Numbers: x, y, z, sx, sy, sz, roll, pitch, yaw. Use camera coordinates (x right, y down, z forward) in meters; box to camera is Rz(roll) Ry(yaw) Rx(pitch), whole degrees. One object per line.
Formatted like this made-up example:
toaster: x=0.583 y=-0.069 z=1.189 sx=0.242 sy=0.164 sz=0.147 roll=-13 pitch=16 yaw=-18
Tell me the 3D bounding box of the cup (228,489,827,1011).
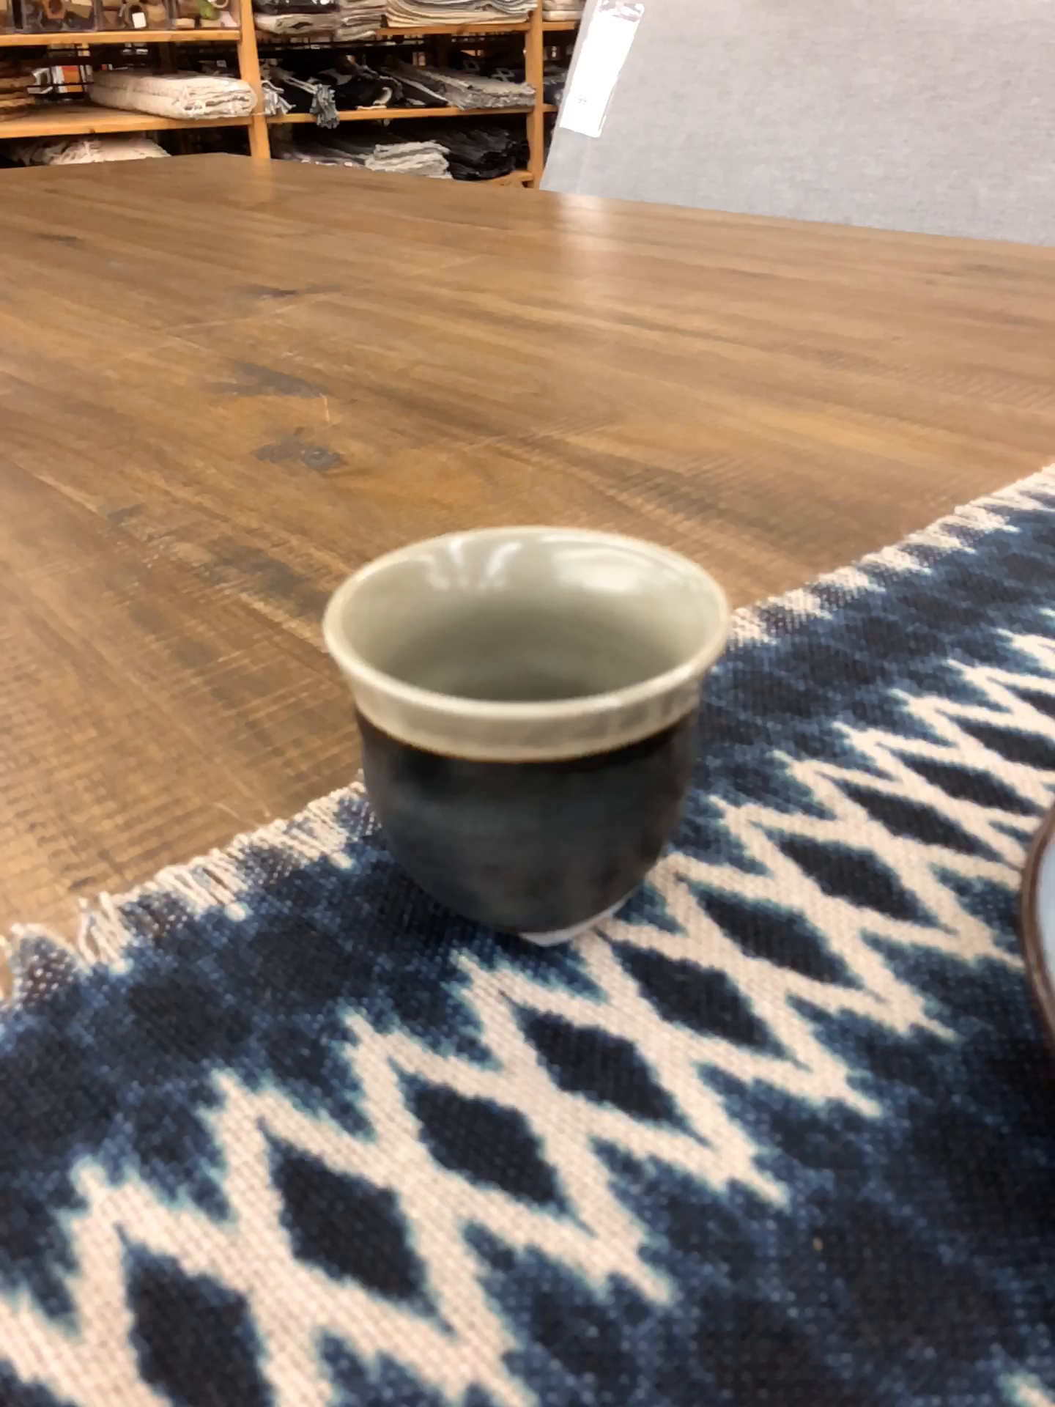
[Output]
cup: x=-0.002 y=0.001 z=0.230 sx=0.078 sy=0.048 sz=0.085 roll=-2 pitch=31 yaw=1
